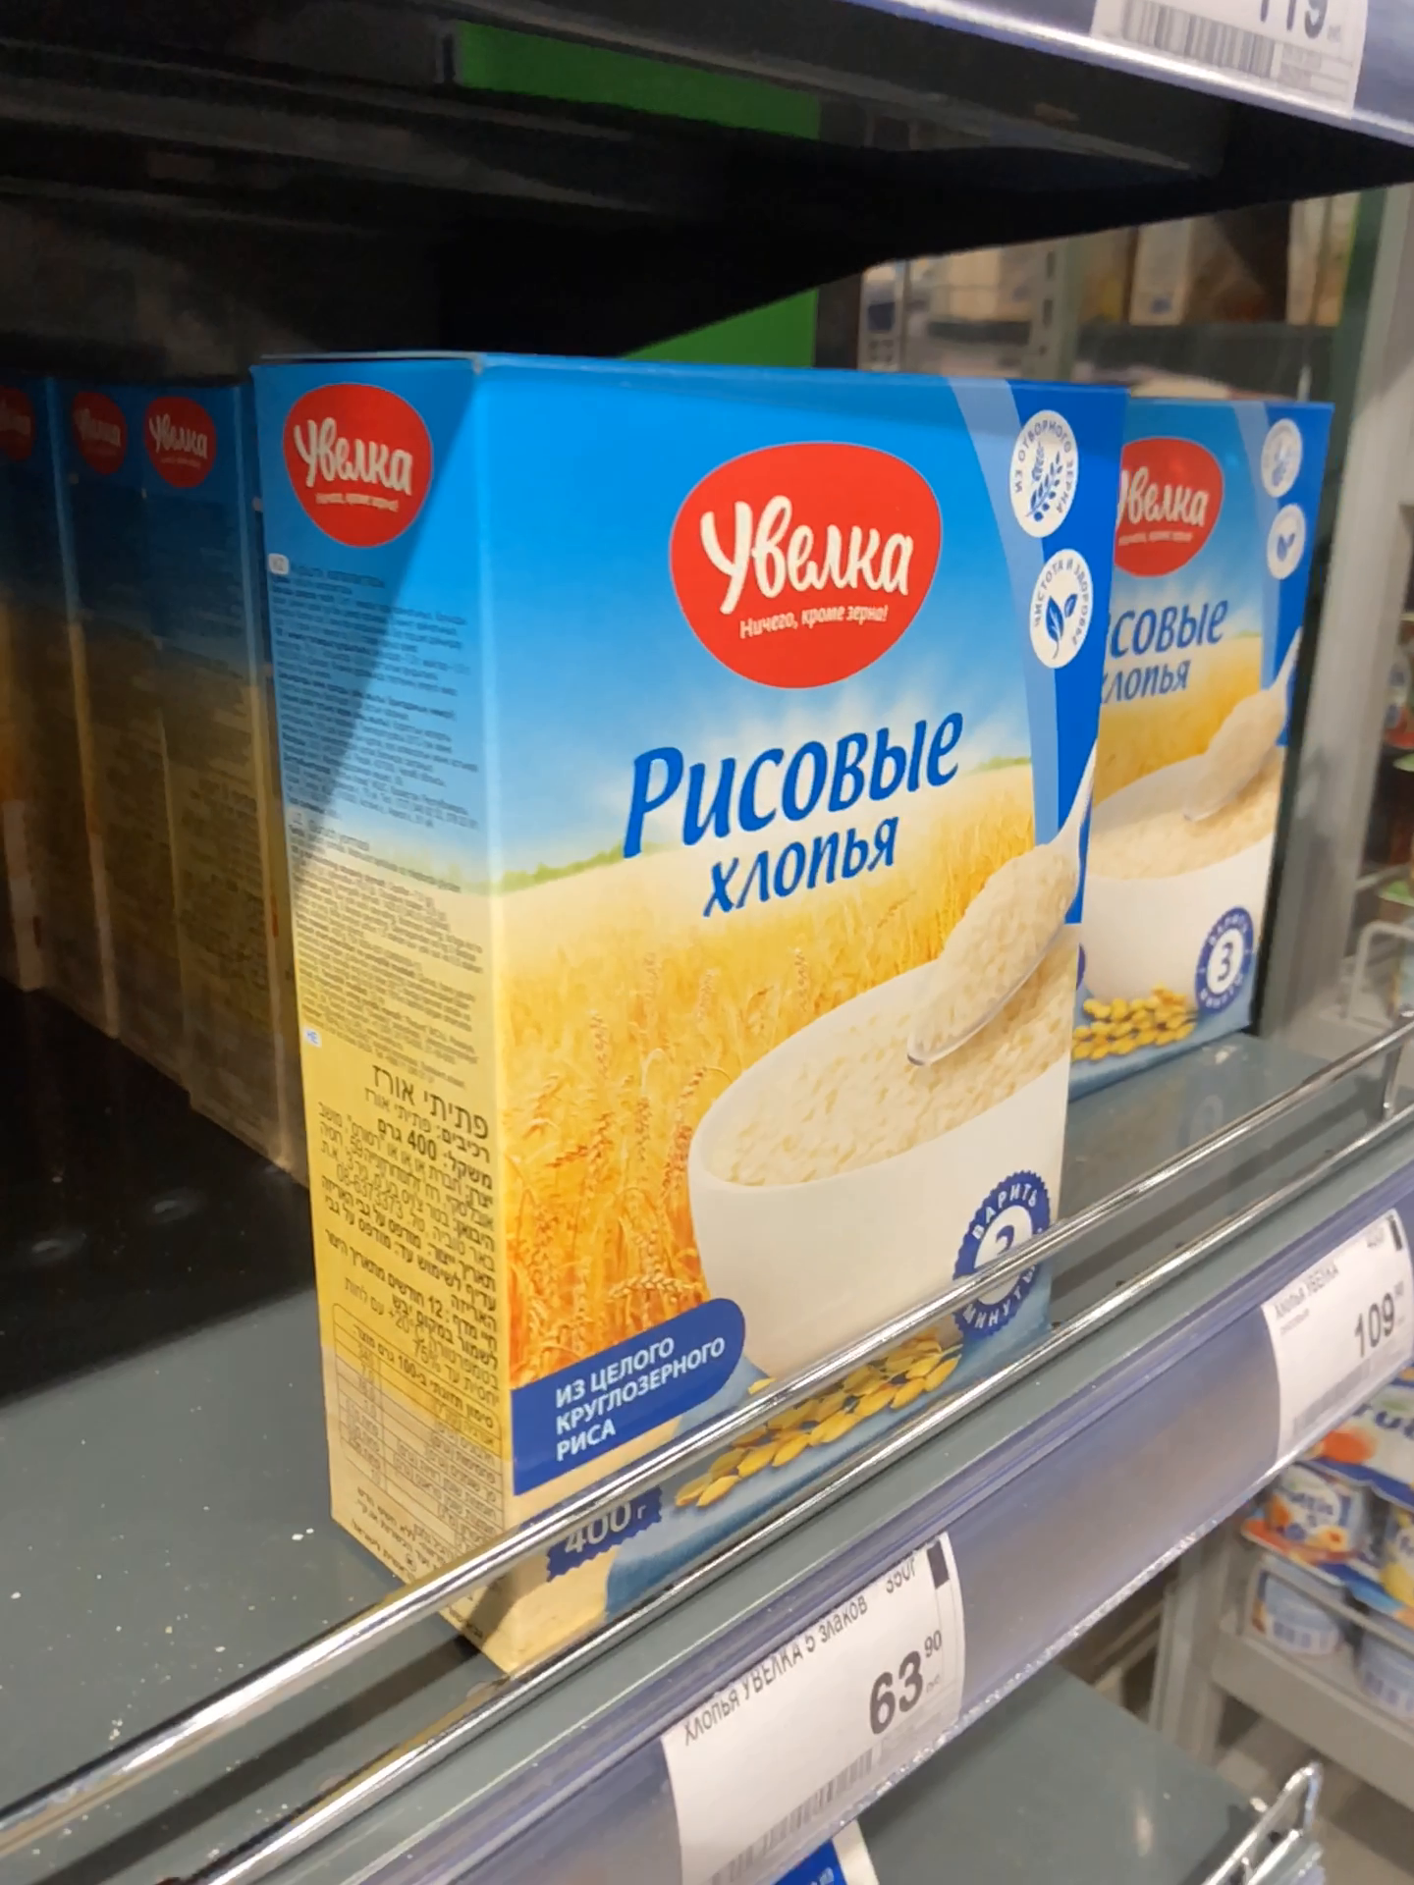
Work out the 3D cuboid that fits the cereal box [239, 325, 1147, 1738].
[{"bbox_3d":[0.004,0.003,0.275,0.060,0.199,0.140,17,24,42],"label":"cereal box"}]
